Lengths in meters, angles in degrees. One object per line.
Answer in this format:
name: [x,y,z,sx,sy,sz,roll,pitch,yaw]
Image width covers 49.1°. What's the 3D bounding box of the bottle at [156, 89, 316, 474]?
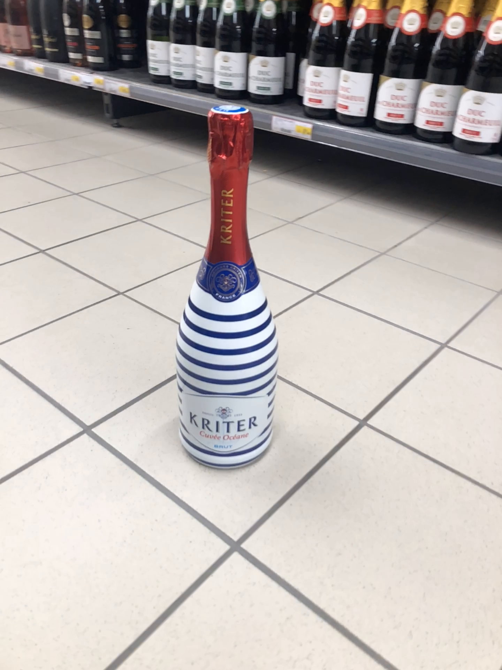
bottle: [-0.016,-0.031,0.461,0.100,0.308,0.091,2,31,-2]
